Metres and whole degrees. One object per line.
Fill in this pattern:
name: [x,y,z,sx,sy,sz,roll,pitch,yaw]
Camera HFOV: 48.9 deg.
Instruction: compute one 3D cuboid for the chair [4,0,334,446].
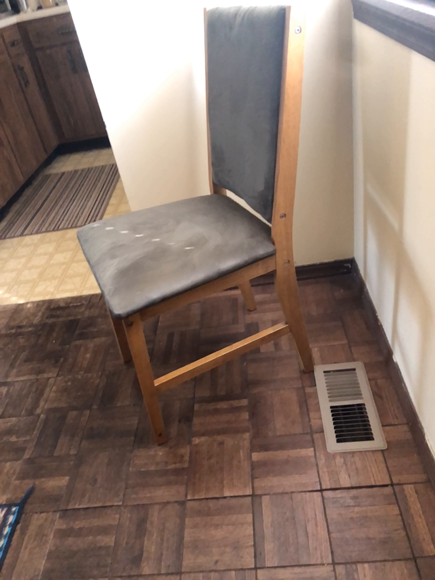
chair: [-0.090,-0.183,1.154,0.510,0.857,0.491,-19,35,-17]
